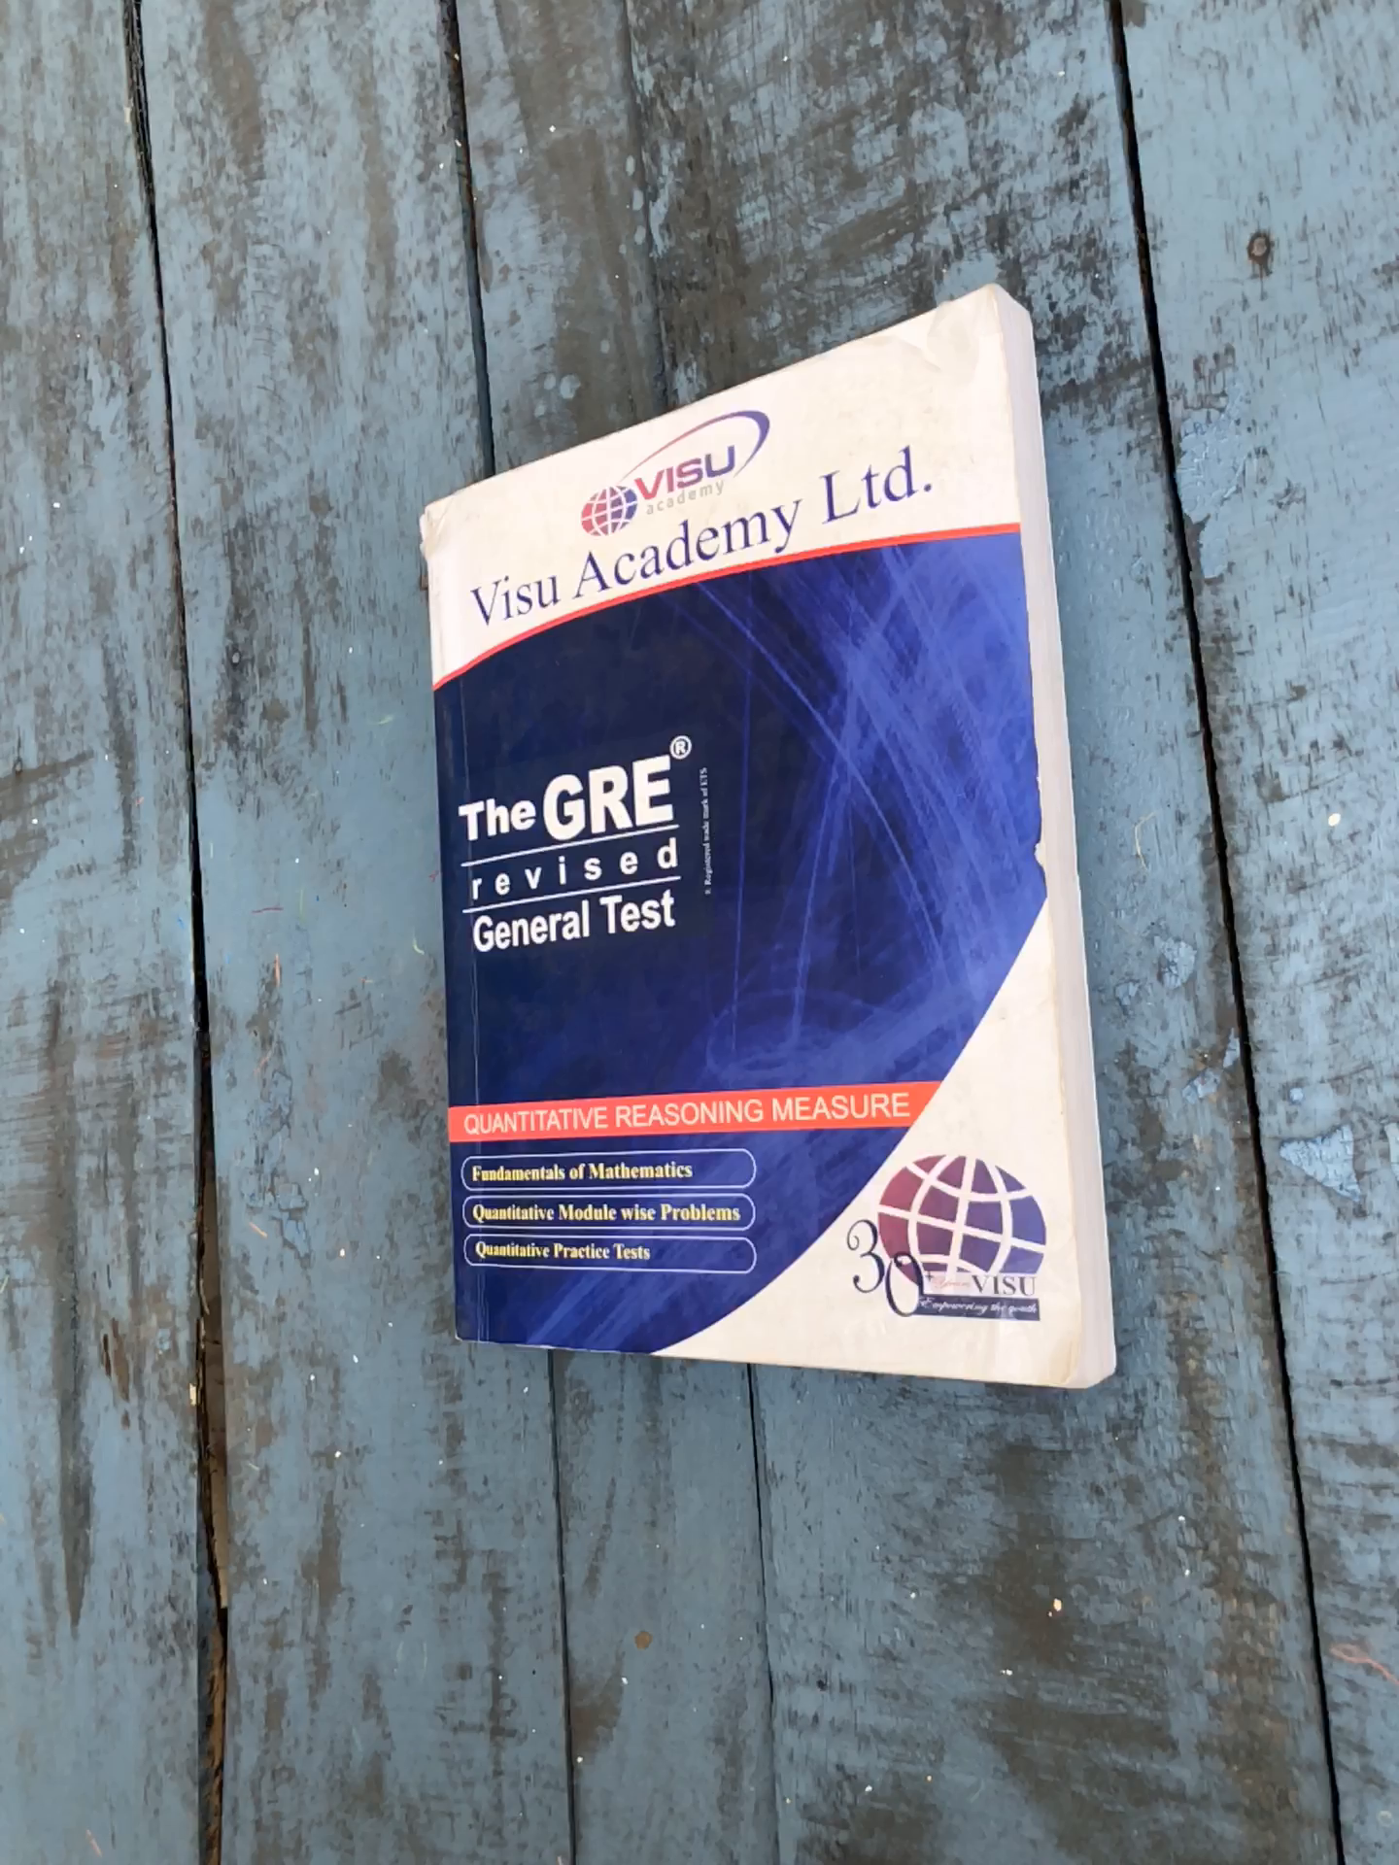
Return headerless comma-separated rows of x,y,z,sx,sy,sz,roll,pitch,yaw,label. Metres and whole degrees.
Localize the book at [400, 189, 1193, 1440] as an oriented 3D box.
0.013,-0.021,0.442,0.221,0.060,0.290,-7,80,37,book
